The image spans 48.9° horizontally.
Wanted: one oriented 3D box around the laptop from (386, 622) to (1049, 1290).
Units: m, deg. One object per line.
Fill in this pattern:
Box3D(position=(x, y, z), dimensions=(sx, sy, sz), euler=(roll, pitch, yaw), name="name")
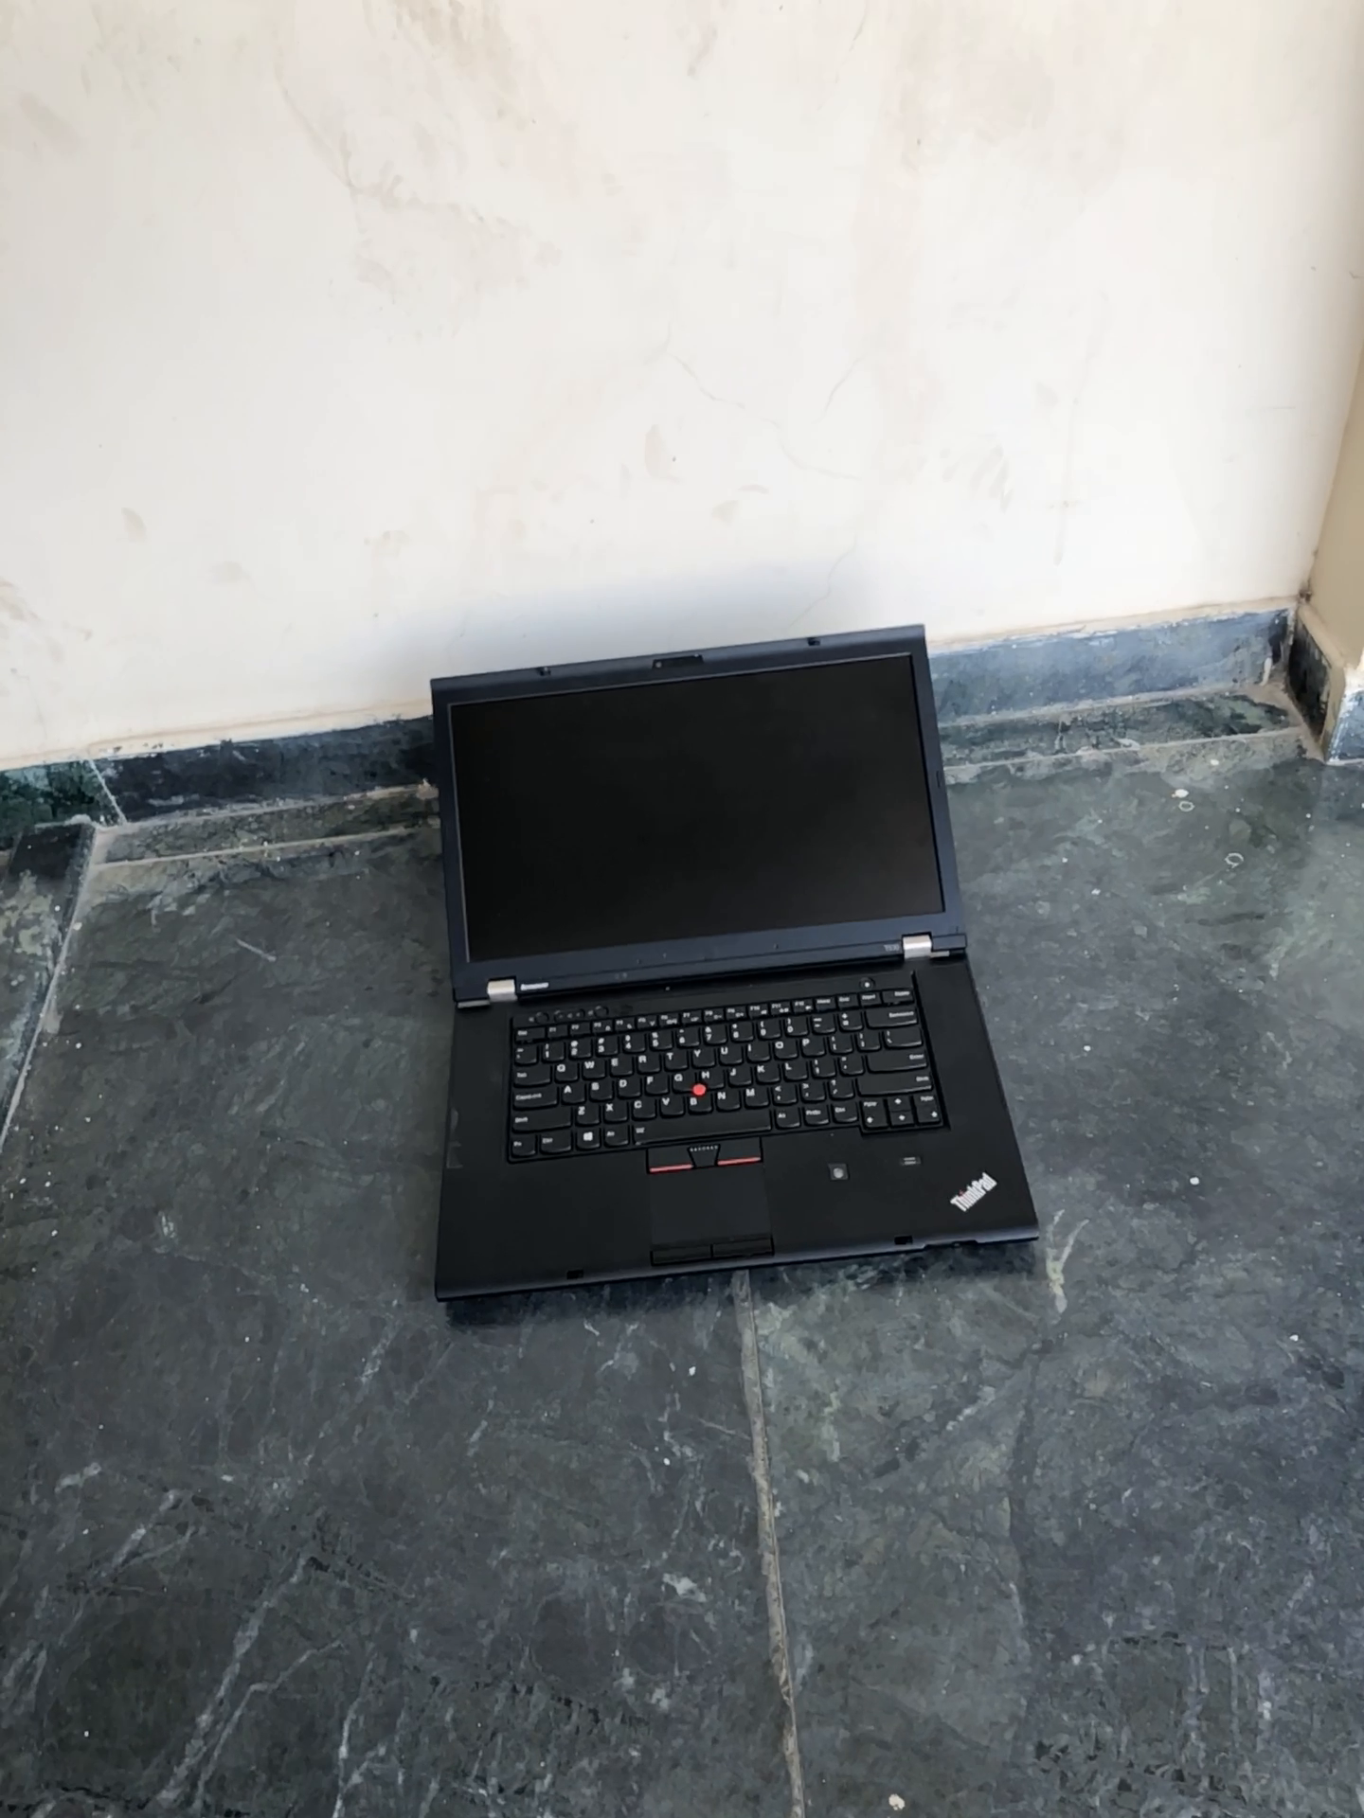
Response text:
Box3D(position=(0.012, 0.007, 0.871), dimensions=(0.311, 0.115, 0.377), euler=(-6, 45, 1), name="laptop")
